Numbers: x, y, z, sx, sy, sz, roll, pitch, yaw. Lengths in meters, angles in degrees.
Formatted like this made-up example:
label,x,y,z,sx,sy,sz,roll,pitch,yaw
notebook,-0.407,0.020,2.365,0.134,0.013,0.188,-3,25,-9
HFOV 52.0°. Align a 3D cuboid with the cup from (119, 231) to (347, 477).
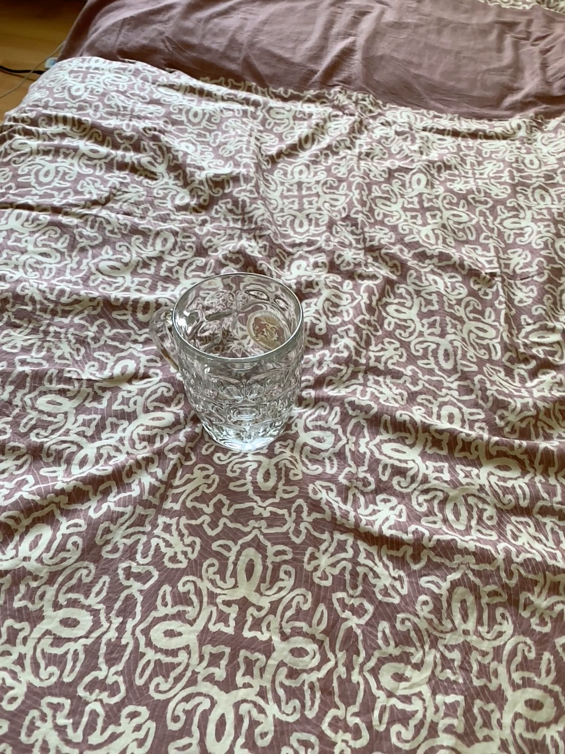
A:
label,x,y,z,sx,sy,sz,roll,pitch,yaw
cup,-0.035,-0.018,0.422,0.120,0.109,0.091,27,50,18
